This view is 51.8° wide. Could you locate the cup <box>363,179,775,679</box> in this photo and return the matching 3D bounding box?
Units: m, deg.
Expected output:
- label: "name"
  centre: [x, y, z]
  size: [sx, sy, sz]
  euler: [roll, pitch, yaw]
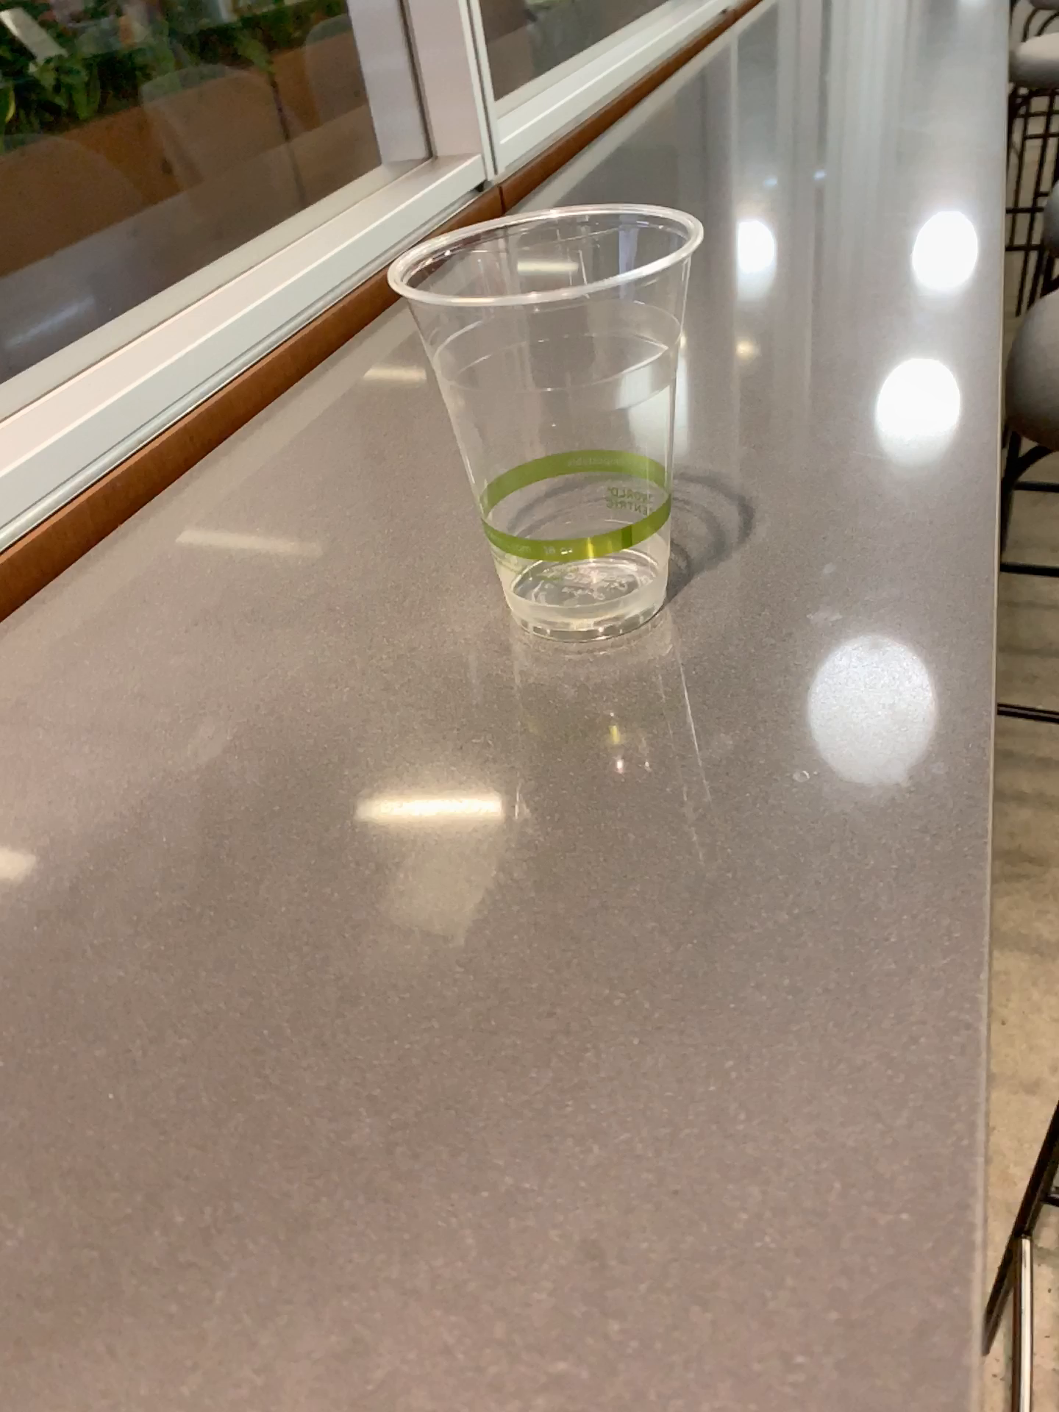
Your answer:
- label: "cup"
  centre: [0.014, -0.100, 0.381]
  size: [0.100, 0.119, 0.111]
  euler: [-17, 36, -8]
